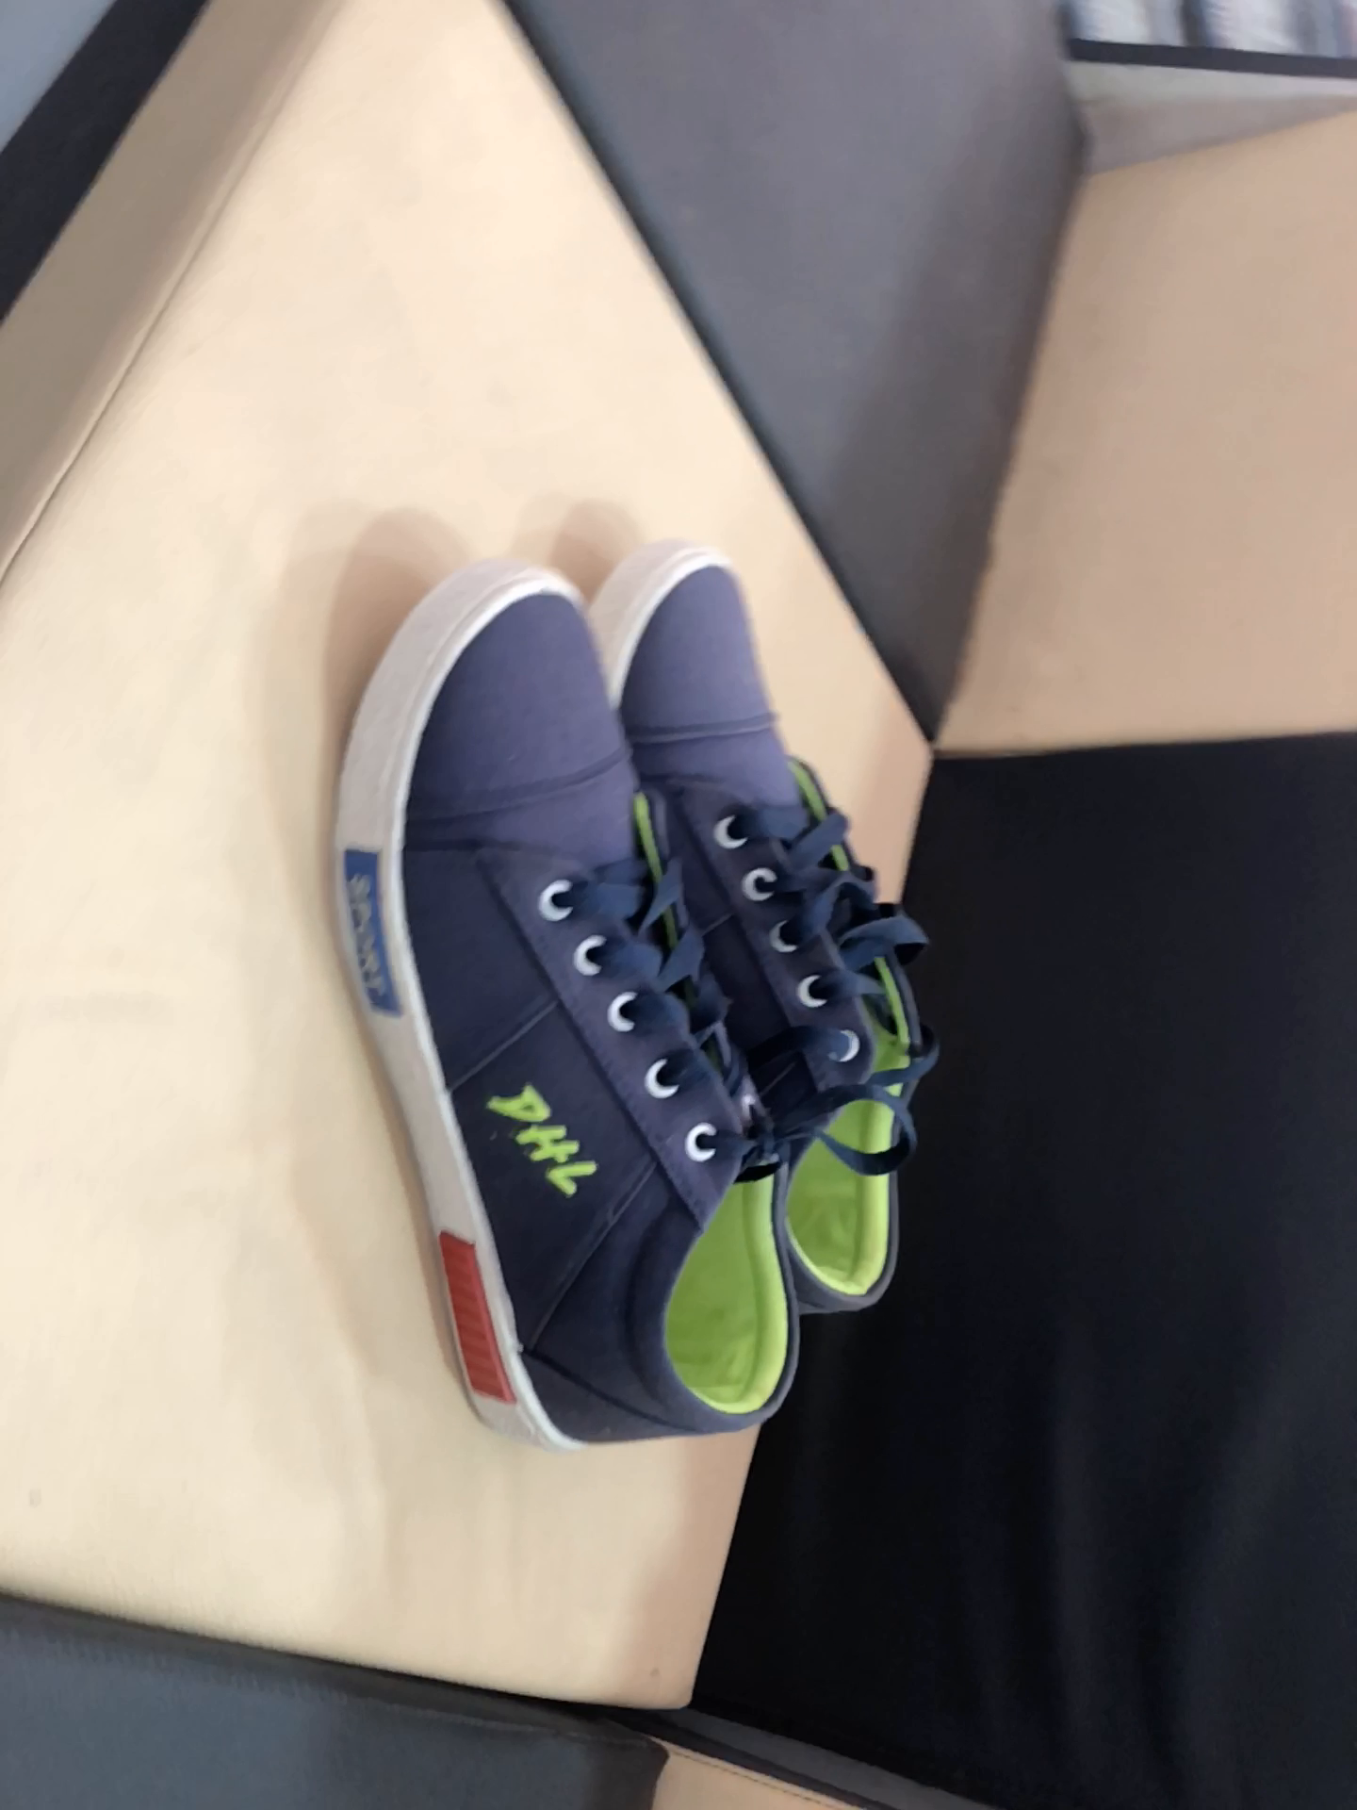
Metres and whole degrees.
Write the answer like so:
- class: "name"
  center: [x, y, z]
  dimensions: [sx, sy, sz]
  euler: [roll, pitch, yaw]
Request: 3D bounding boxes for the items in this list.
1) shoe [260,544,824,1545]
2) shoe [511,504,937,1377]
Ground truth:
- class: "shoe"
  center: [-0.031, 0.036, 0.438]
  dimensions: [0.091, 0.089, 0.260]
  euler: [-29, 116, -54]
- class: "shoe"
  center: [0.023, 0.010, 0.512]
  dimensions: [0.091, 0.079, 0.270]
  euler: [-29, 116, -54]
